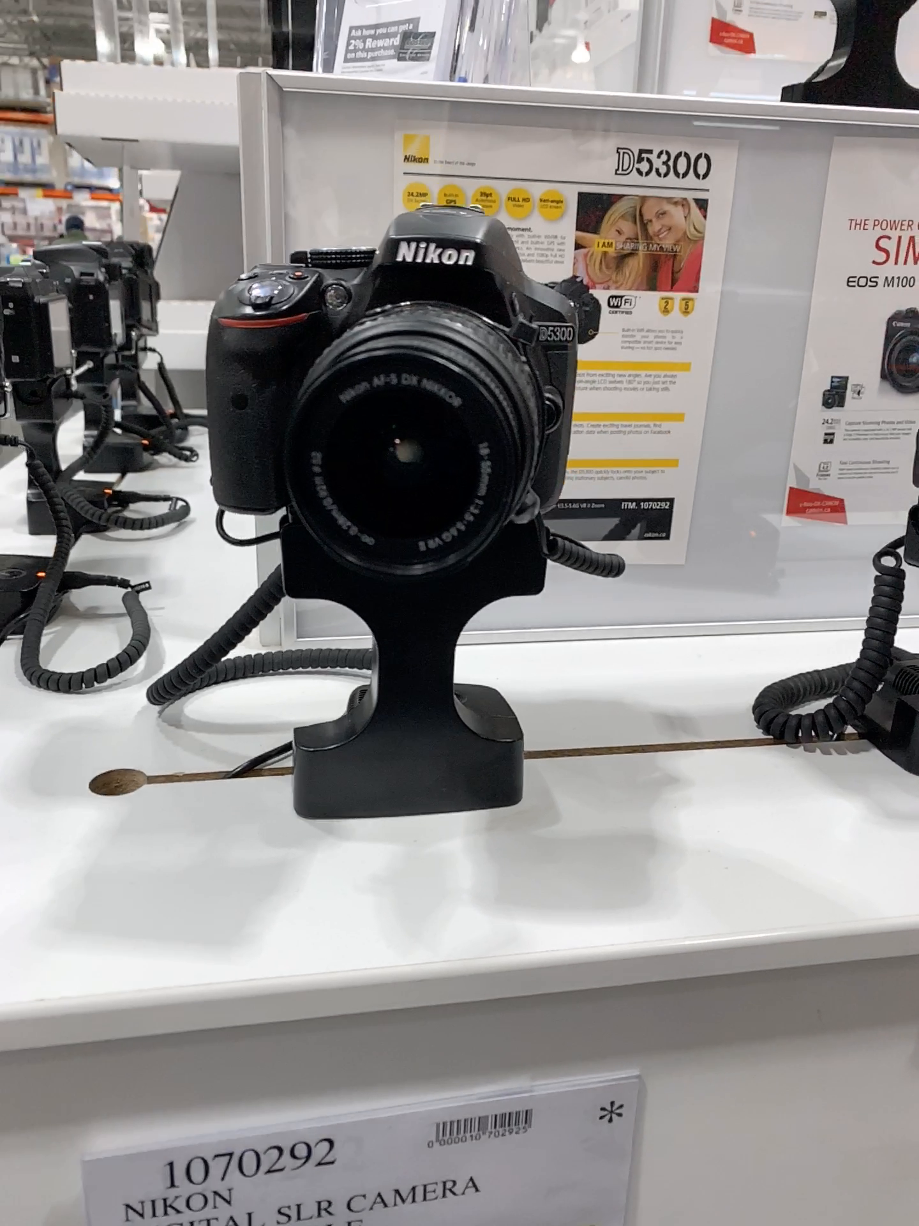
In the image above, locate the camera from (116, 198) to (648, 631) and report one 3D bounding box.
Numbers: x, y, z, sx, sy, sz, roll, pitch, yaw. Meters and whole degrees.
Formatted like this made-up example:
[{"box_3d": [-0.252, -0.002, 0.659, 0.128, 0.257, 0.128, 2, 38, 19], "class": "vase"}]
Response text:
[{"box_3d": [-0.017, -0.069, 0.300, 0.120, 0.099, 0.151, 2, 19, 1], "class": "camera"}]
